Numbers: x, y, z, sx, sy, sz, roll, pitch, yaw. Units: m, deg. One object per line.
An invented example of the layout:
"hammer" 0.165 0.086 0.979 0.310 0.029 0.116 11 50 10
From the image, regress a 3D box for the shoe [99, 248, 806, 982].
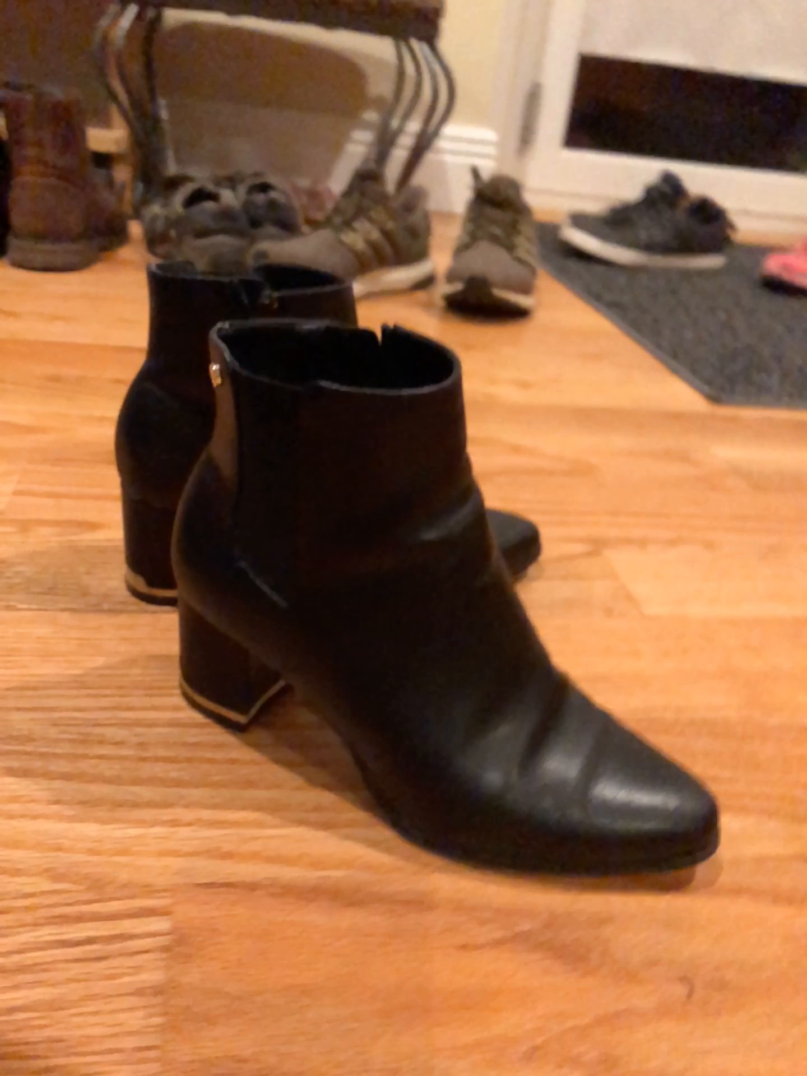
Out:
"shoe" 0.017 0.011 0.329 0.236 0.175 0.095 19 30 21

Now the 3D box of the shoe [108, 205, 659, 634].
"shoe" -0.020 -0.058 0.452 0.236 0.175 0.095 -1 29 -16
